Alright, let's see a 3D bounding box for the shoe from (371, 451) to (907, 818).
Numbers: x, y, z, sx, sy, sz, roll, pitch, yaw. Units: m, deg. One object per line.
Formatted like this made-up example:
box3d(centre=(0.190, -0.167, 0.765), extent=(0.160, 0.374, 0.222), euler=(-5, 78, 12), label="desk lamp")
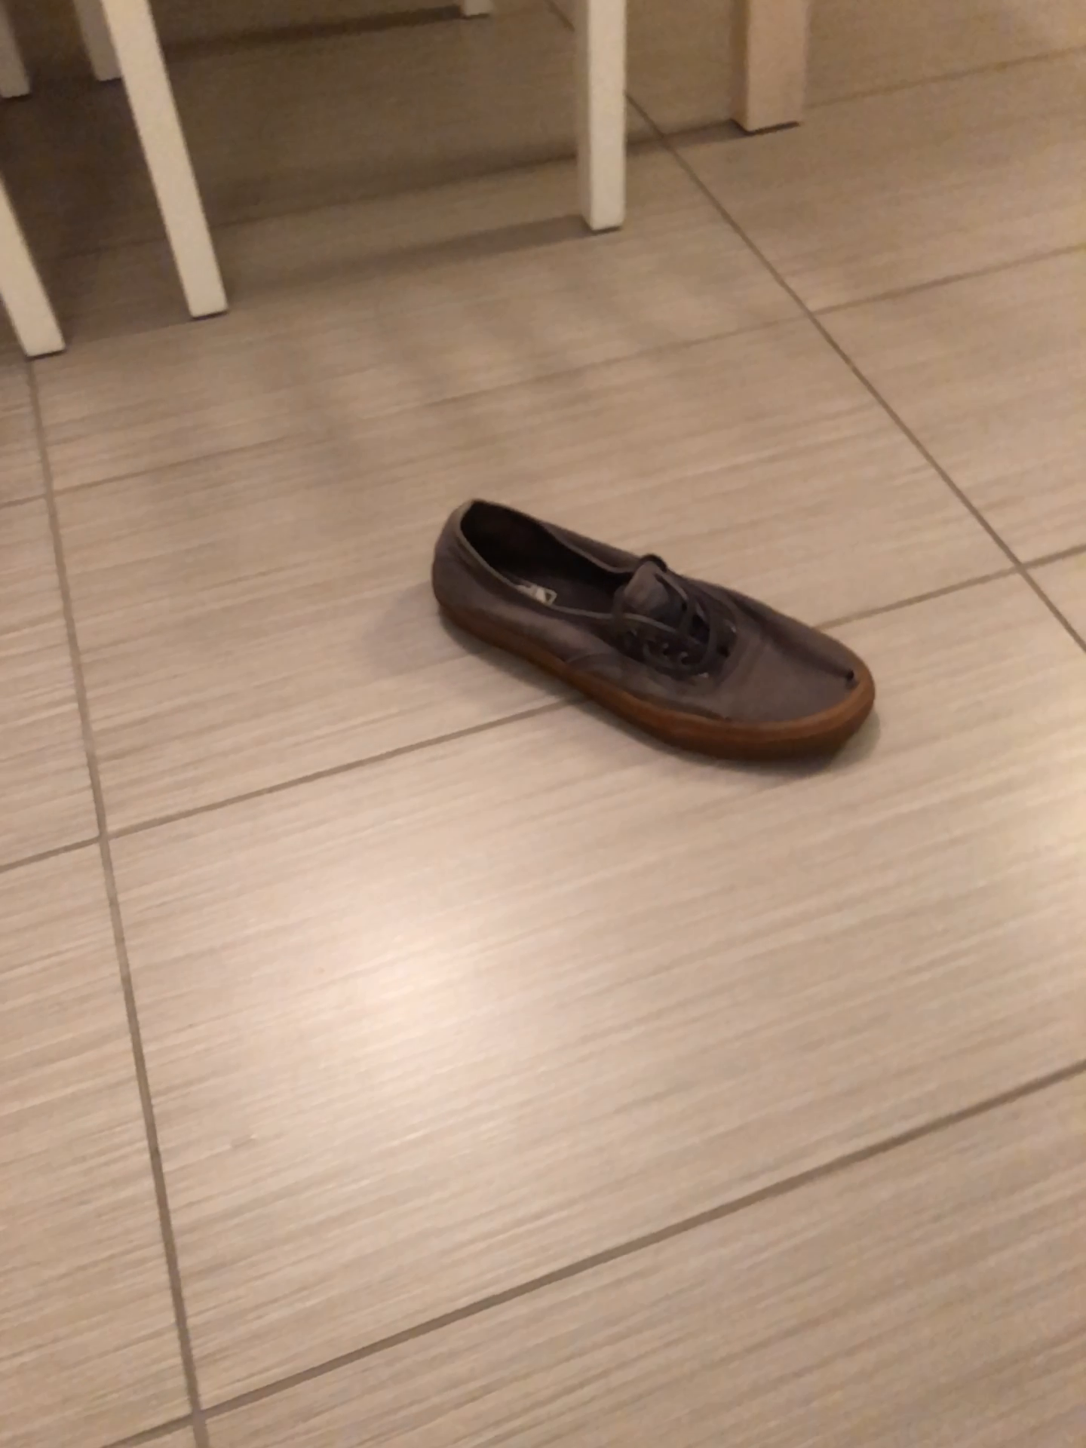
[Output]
box3d(centre=(0.052, -0.061, 0.715), extent=(0.290, 0.060, 0.110), euler=(24, 57, 19), label="shoe")
